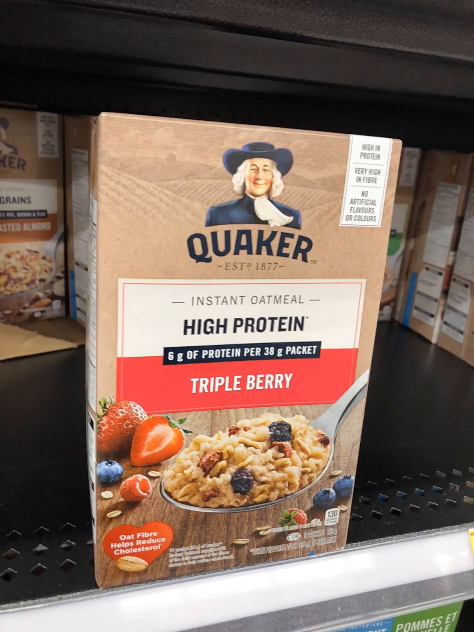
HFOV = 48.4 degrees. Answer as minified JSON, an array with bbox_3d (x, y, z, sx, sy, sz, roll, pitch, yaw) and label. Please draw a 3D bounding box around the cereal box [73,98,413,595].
[{"bbox_3d":[-0.008,0.012,0.251,0.130,0.199,0.070,-1,16,-17],"label":"cereal box"}]
